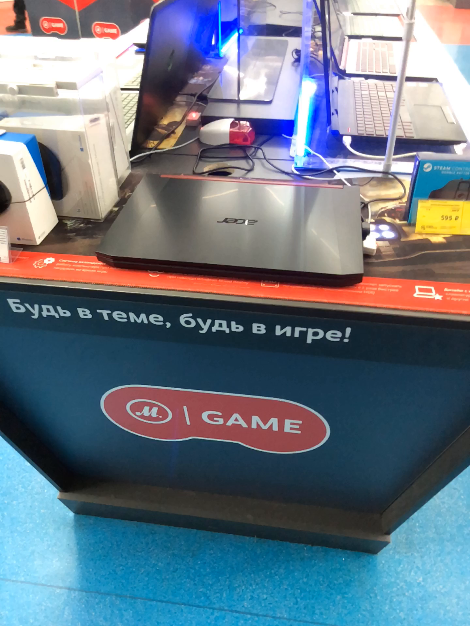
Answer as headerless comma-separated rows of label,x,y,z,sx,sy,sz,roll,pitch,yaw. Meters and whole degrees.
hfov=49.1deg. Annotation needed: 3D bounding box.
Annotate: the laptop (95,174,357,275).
laptop,0.002,-0.144,0.772,0.350,0.005,0.244,6,40,7
